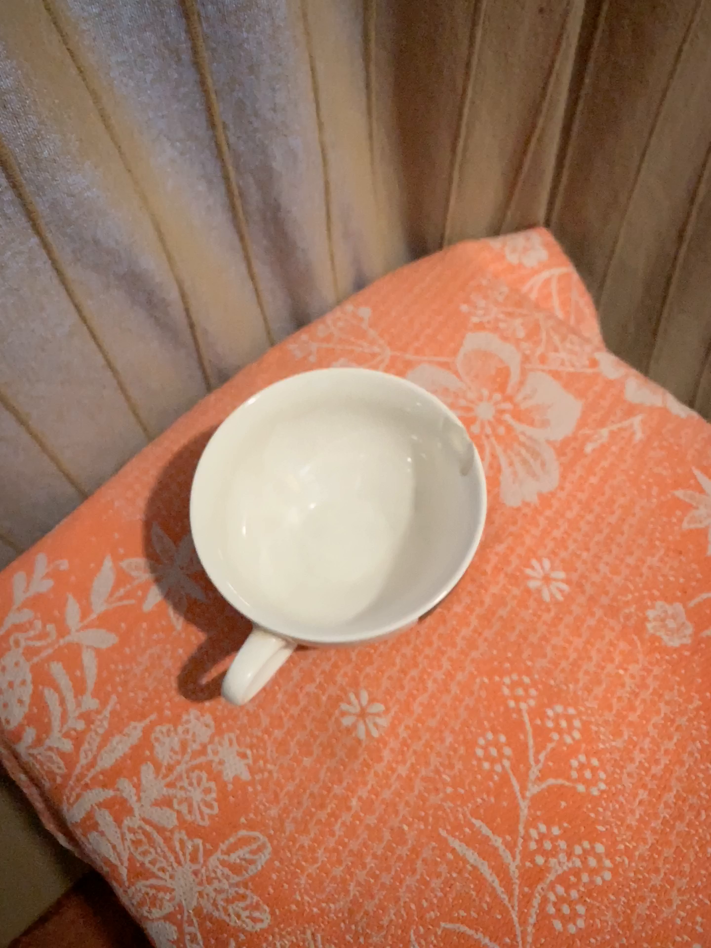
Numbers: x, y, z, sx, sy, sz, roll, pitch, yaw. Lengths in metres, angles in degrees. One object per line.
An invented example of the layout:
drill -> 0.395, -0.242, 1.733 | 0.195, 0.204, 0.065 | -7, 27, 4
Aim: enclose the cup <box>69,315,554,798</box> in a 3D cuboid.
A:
cup -> -0.010, 0.025, 0.283 | 0.114, 0.056, 0.137 | 27, 64, 15
